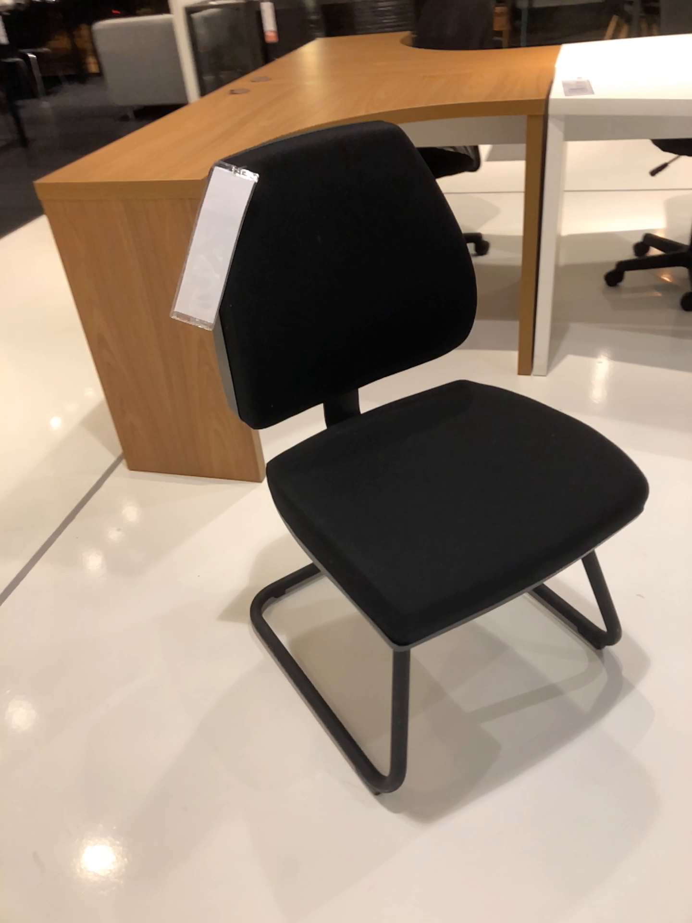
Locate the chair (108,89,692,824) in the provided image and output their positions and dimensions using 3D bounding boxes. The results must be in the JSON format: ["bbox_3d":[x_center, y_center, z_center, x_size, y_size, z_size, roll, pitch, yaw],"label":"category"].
[{"bbox_3d":[0.094,-0.040,1.207,0.551,0.873,0.563,-24,38,-24],"label":"chair"}]
